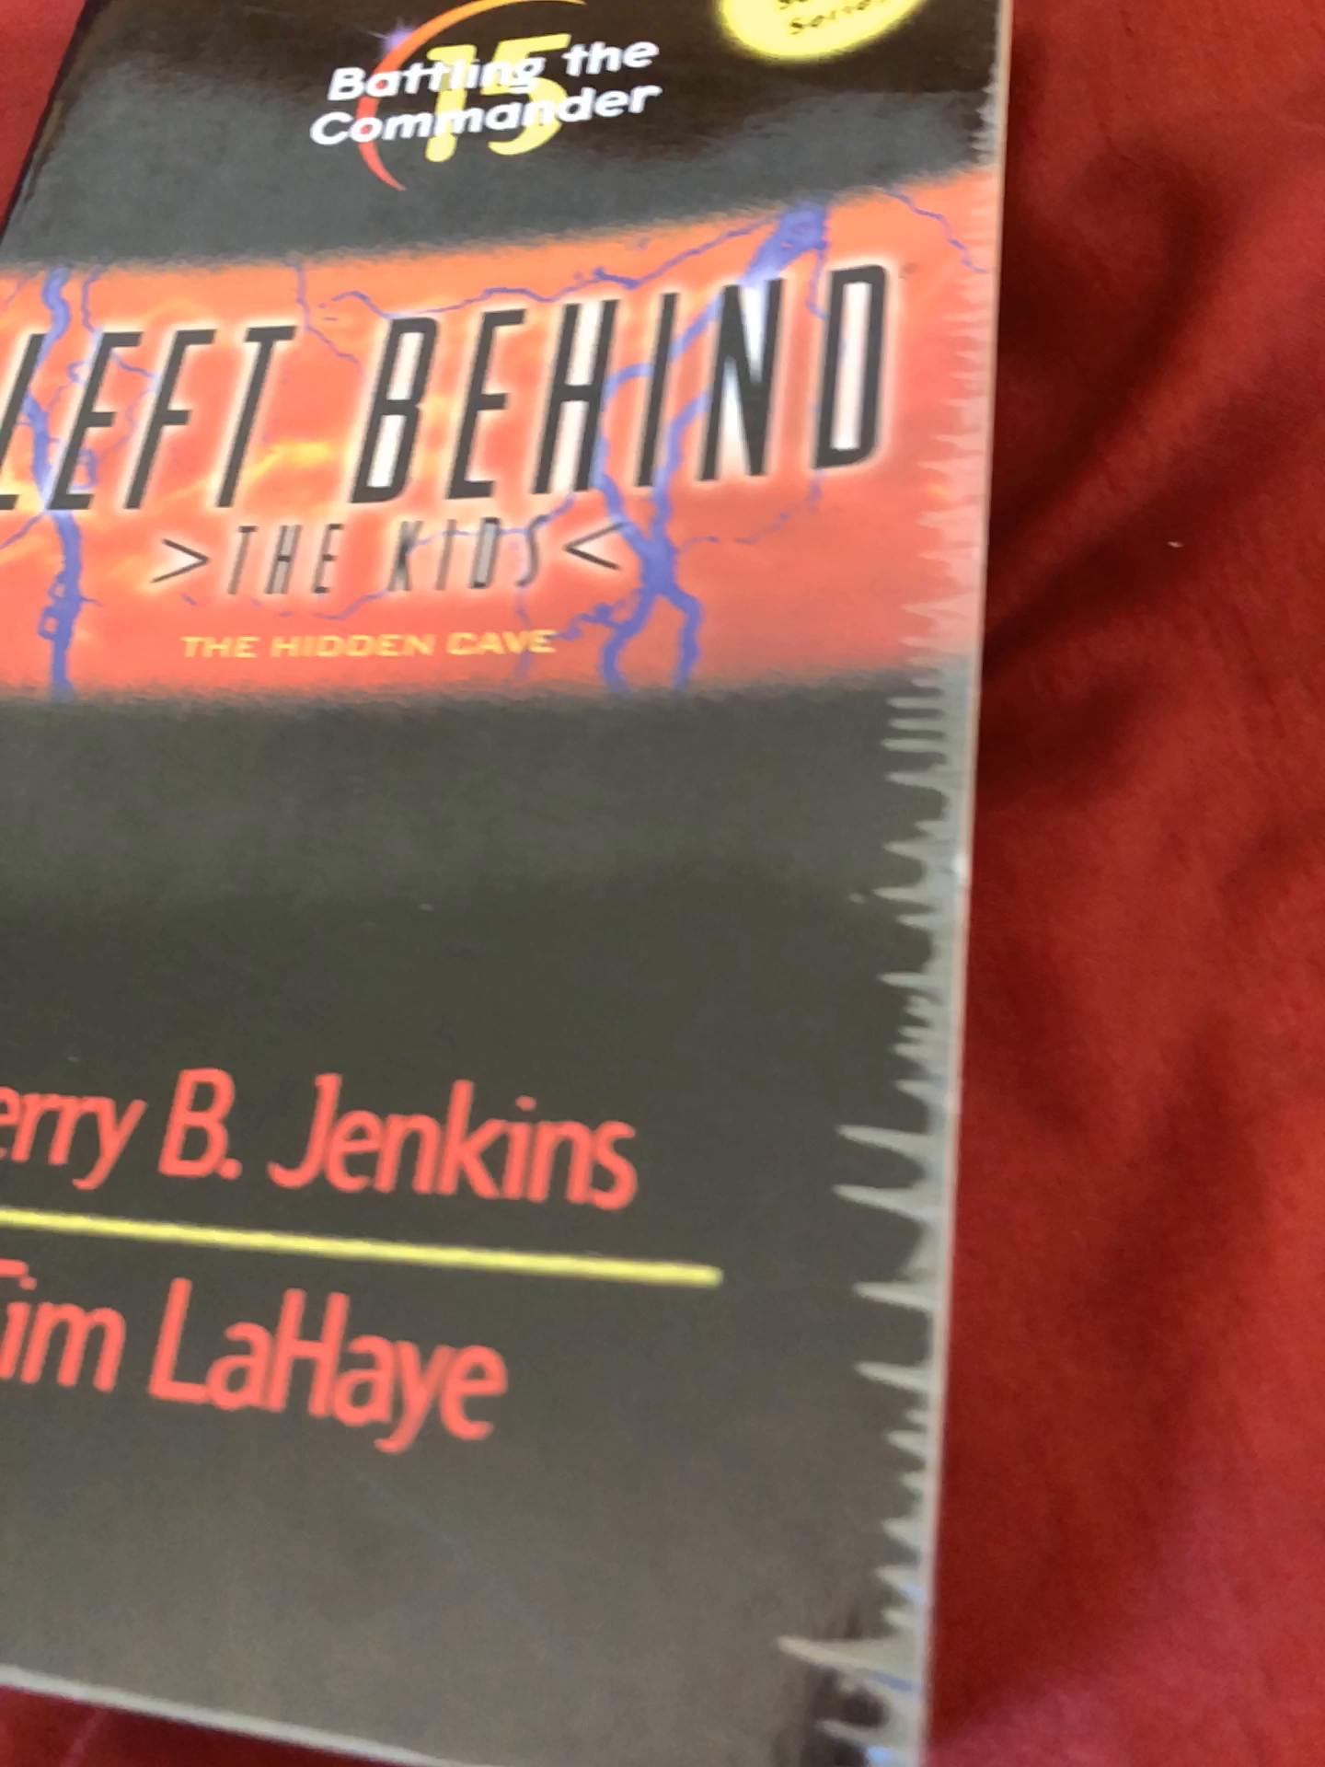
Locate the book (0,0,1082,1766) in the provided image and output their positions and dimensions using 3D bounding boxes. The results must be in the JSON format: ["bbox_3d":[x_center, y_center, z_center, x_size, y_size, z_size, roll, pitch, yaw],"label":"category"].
[{"bbox_3d":[-0.023,-0.021,0.132,0.110,0.026,0.170,3,69,12],"label":"book"}]
